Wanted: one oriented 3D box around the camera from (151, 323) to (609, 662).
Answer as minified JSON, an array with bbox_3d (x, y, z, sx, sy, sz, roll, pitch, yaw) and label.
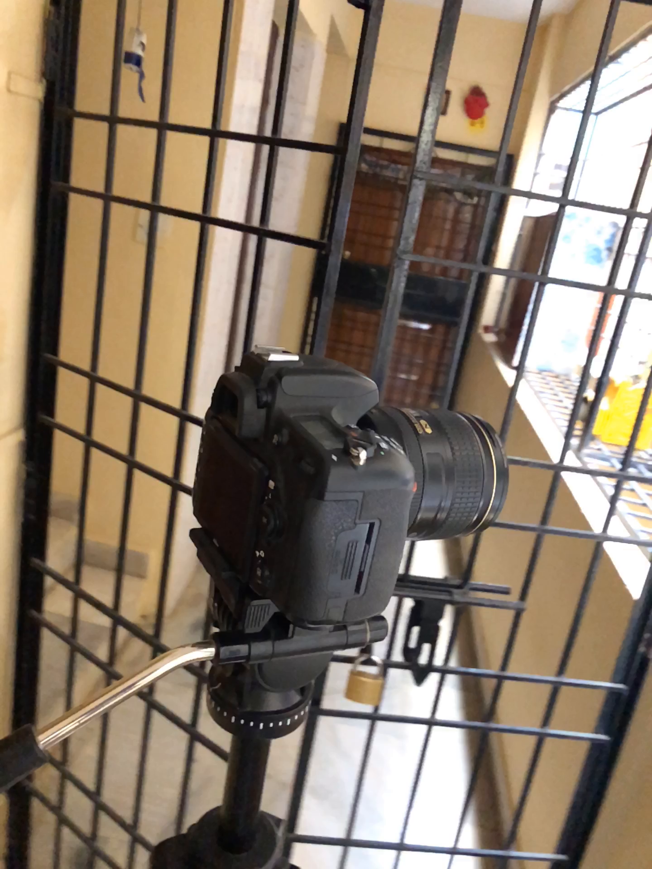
[{"bbox_3d":[0.016,0.016,0.397,0.171,0.105,0.171,1,20,-29],"label":"camera"}]
